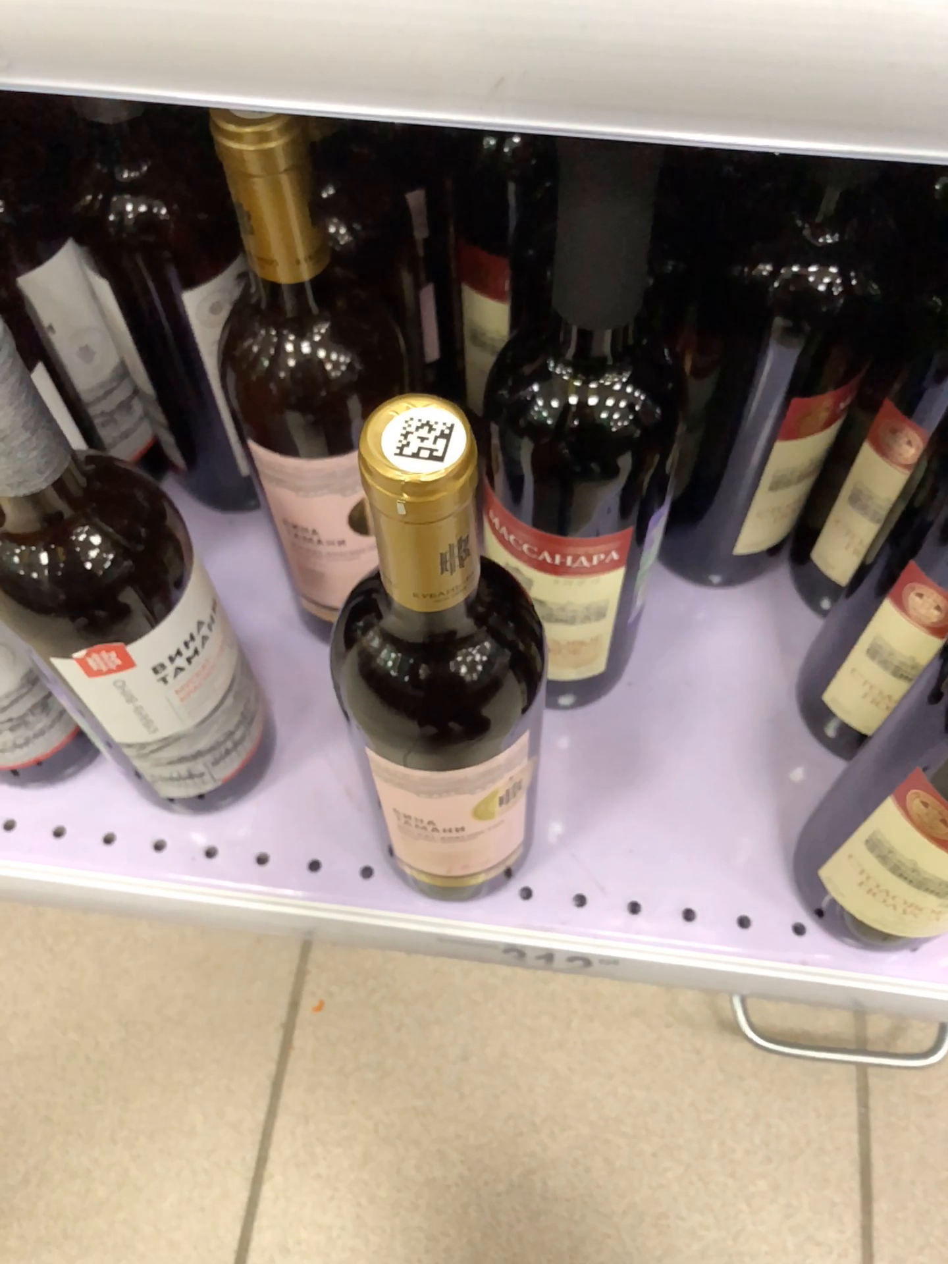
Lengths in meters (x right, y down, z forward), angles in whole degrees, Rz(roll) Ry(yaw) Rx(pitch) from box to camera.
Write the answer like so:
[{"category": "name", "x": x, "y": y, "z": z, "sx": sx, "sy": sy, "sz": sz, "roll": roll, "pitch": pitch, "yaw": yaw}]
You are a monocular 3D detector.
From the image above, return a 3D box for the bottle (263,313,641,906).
[{"category": "bottle", "x": -0.004, "y": 0.023, "z": 0.368, "sx": 0.080, "sy": 0.291, "sz": 0.070, "roll": -2, "pitch": 62, "yaw": 0}]
